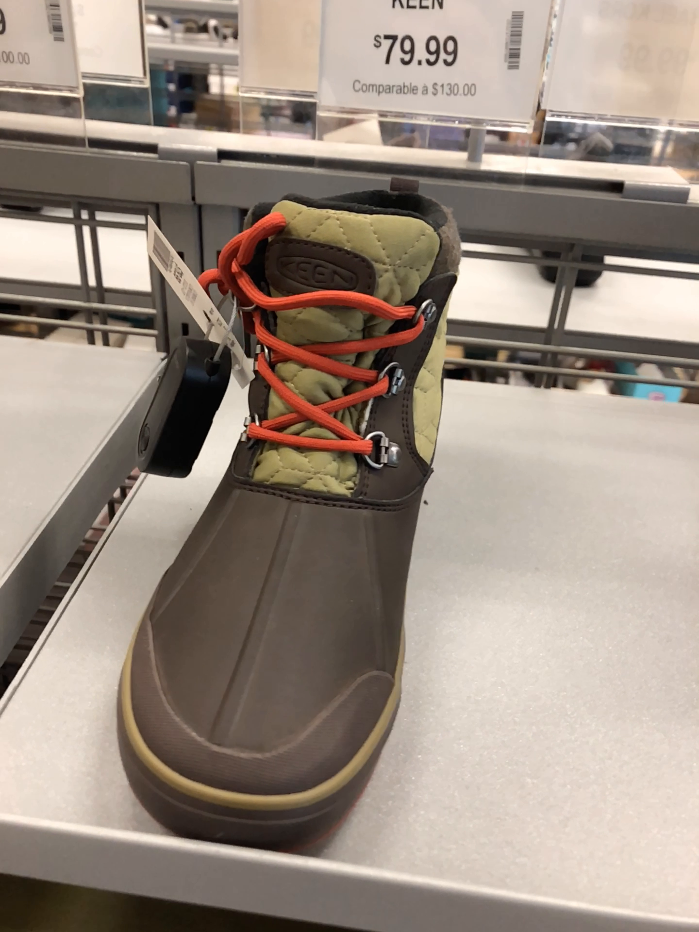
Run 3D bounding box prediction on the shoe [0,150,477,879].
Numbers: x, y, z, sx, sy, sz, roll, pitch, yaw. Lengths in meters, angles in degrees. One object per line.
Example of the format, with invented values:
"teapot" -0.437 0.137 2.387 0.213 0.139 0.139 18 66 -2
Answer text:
"shoe" -0.016 -0.018 0.296 0.107 0.139 0.262 8 32 5
